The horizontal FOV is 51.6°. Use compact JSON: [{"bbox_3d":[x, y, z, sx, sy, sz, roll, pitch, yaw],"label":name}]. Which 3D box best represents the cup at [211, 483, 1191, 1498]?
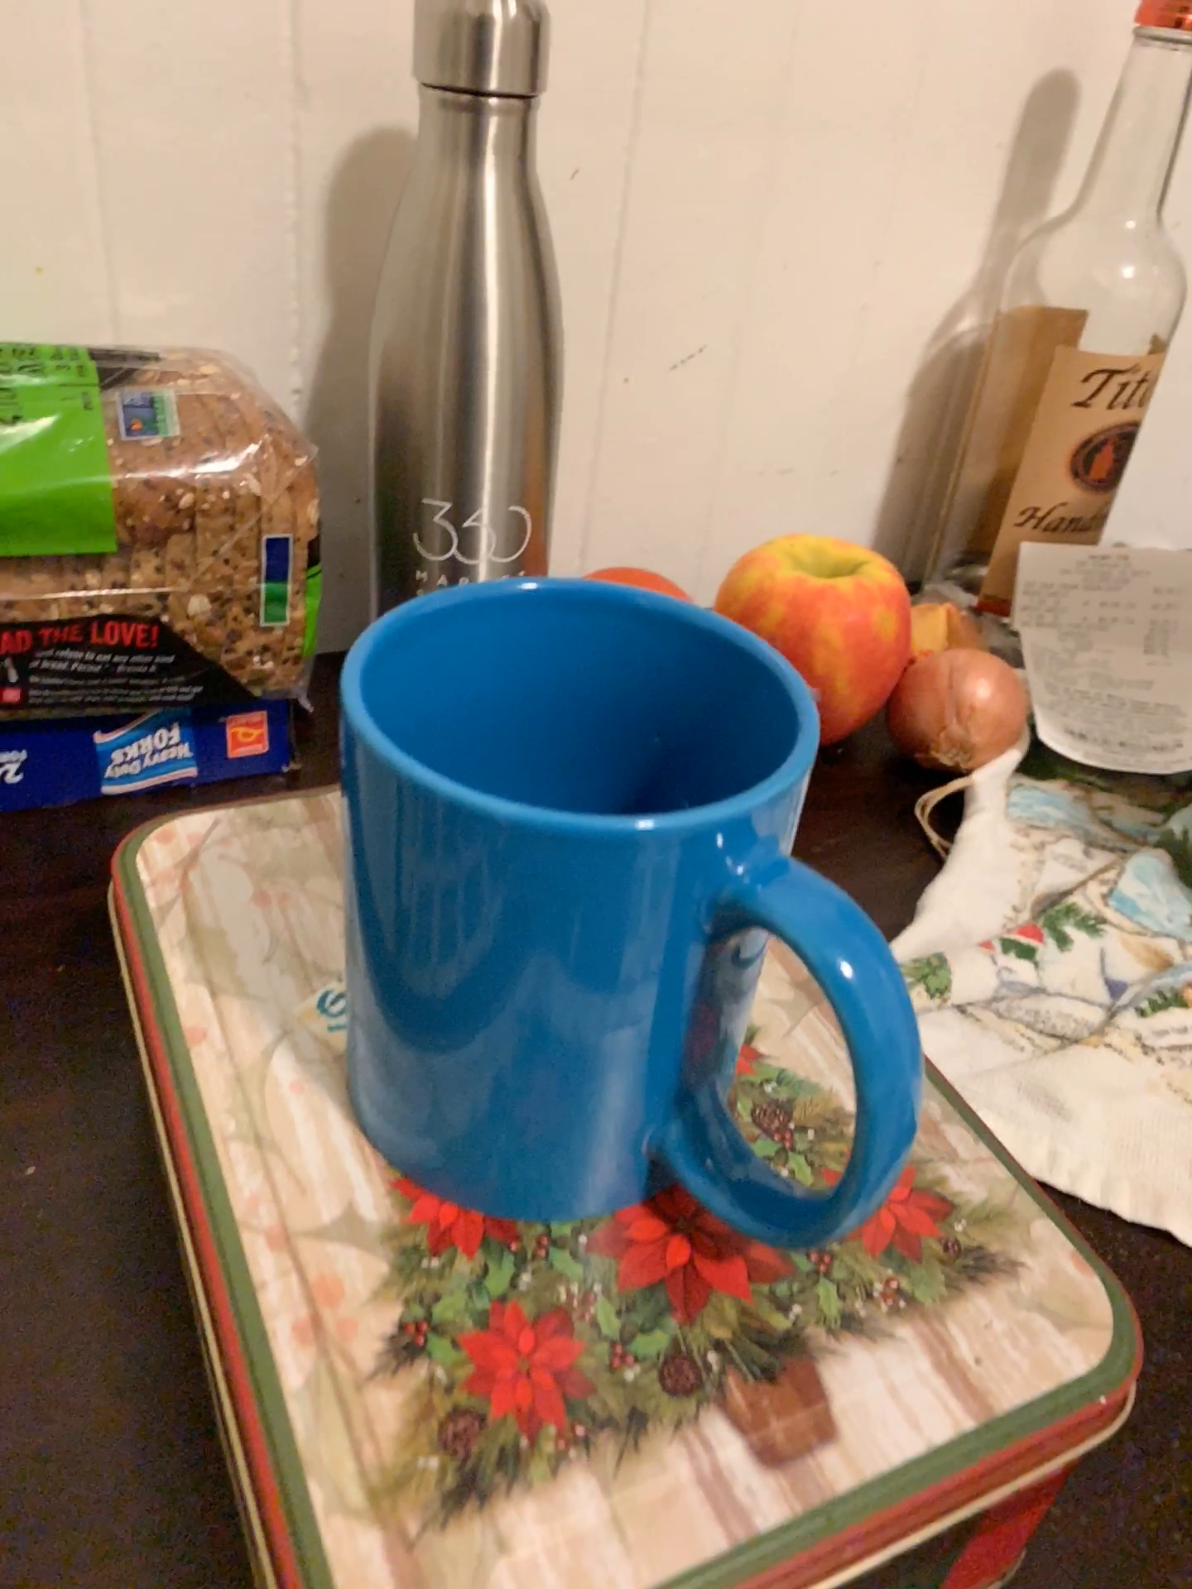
[{"bbox_3d":[0.011,0.022,0.224,0.130,0.099,0.090,31,42,30],"label":"cup"}]
